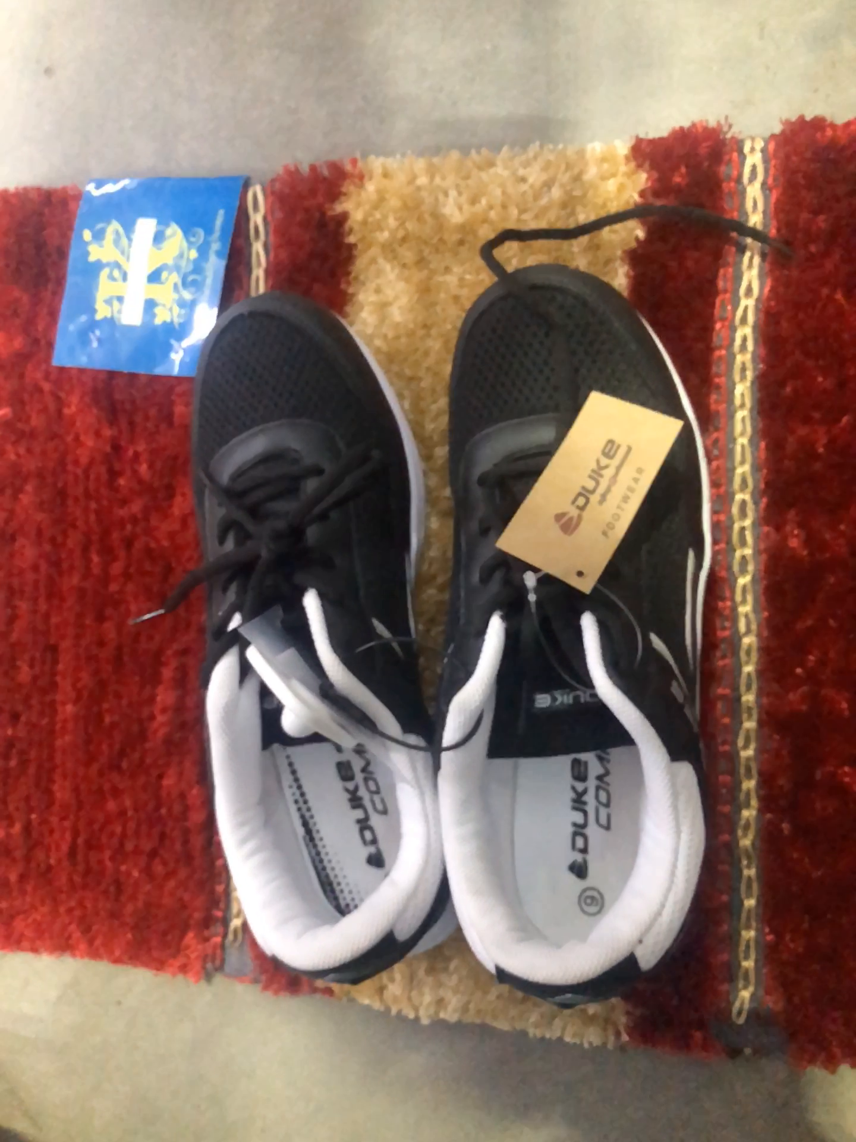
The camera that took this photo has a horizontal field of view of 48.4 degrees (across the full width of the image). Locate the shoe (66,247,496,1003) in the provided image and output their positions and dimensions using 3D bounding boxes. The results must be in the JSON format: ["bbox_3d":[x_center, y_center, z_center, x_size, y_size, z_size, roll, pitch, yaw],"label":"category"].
[{"bbox_3d":[-0.053,0.019,0.356,0.100,0.070,0.240,-13,83,13],"label":"shoe"}]

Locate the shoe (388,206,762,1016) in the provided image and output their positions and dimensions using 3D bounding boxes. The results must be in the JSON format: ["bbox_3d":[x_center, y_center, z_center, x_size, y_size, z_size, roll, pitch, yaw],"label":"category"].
[{"bbox_3d":[0.052,0.013,0.341,0.110,0.070,0.250,-3,85,14],"label":"shoe"}]
